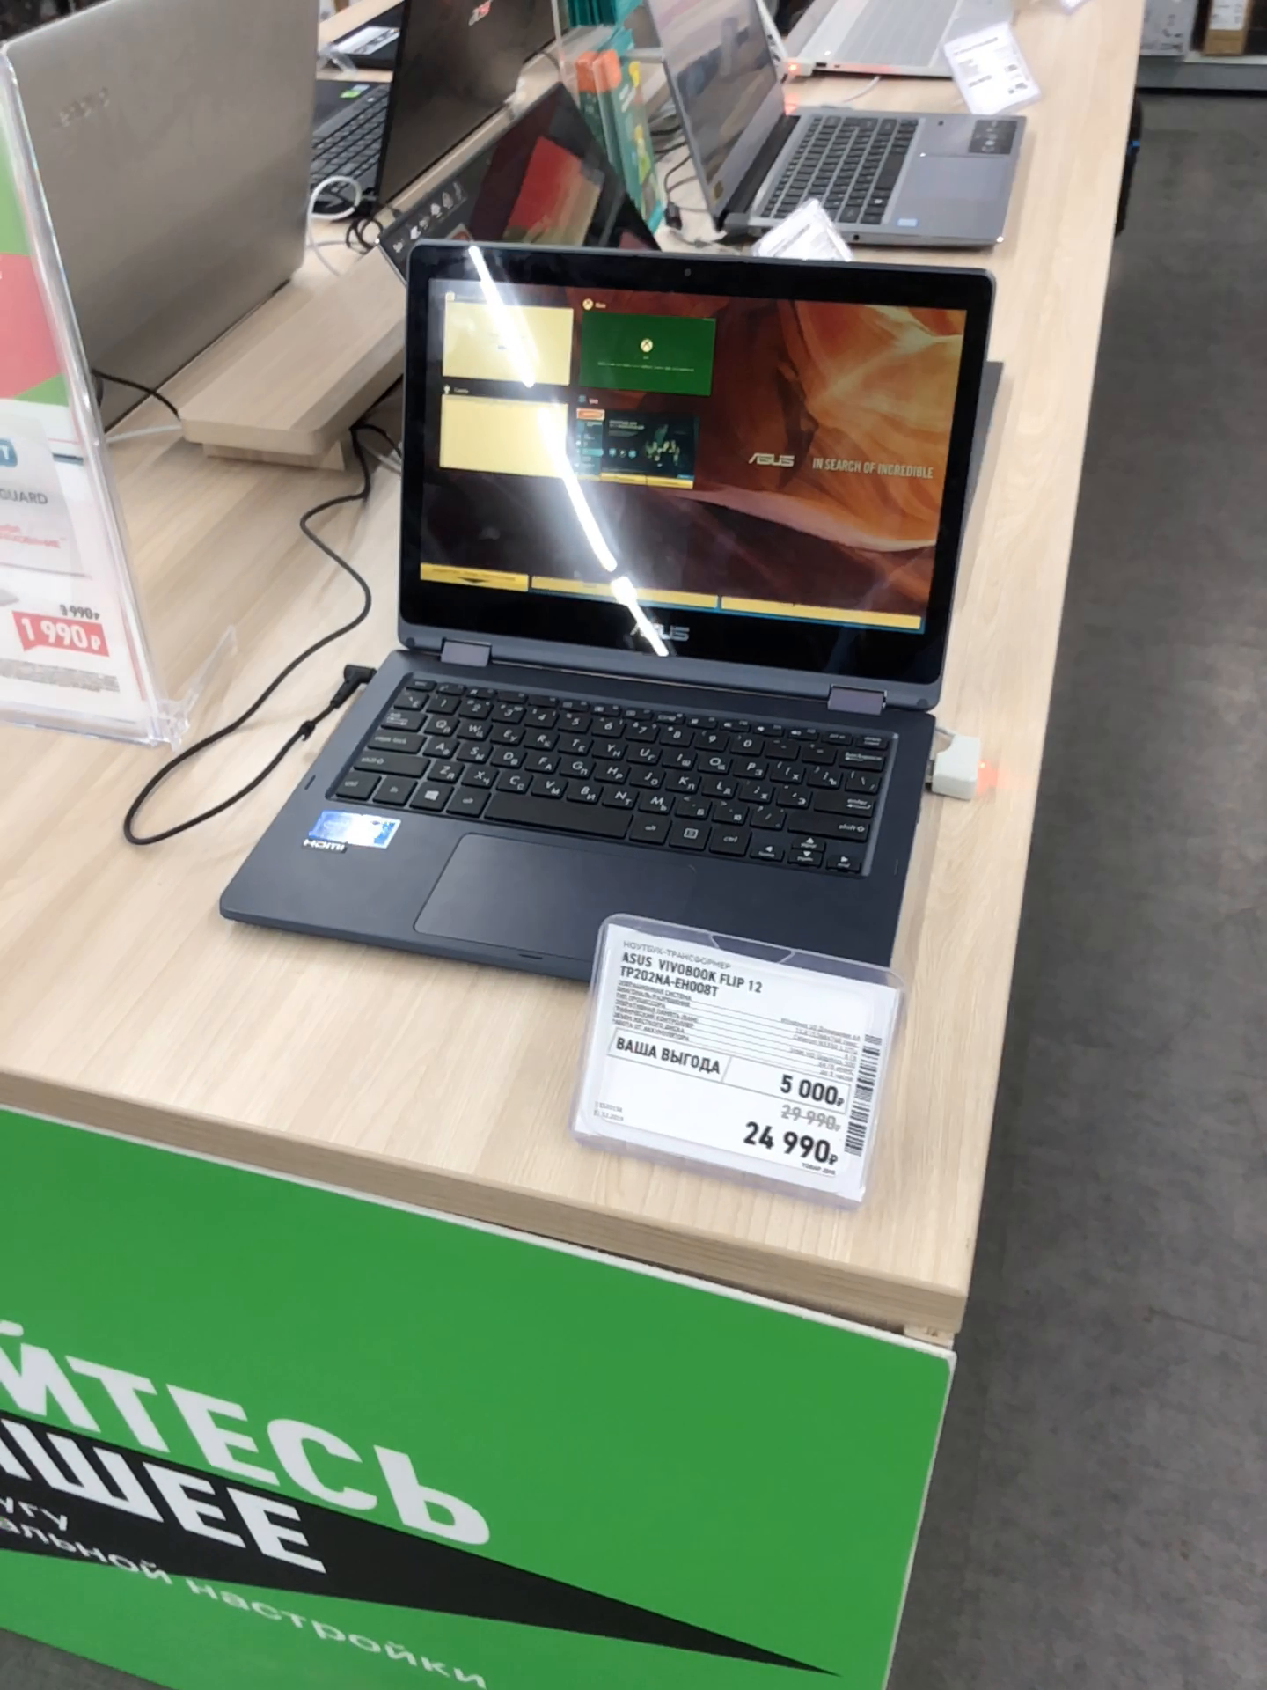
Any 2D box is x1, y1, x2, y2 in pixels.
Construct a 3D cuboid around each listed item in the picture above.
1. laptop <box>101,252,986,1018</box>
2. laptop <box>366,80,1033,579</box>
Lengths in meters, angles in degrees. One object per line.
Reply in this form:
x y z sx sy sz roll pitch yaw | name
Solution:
-0.008 -0.110 0.595 0.269 0.166 0.281 9 44 13 | laptop
0.054 -0.310 0.807 0.299 0.162 0.262 9 44 14 | laptop
